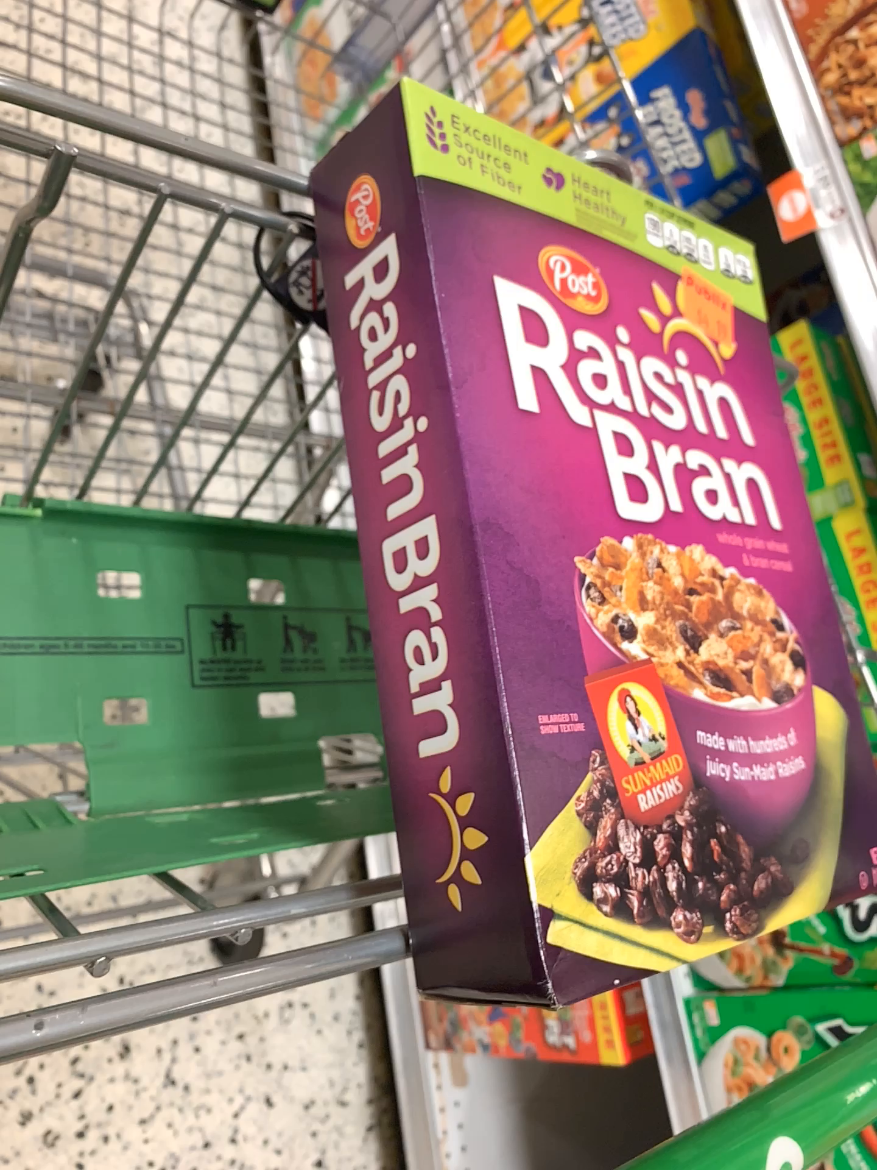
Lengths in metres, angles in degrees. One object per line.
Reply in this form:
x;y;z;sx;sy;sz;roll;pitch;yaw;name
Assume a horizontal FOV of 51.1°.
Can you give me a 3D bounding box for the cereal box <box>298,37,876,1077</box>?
0.072;-0.014;0.323;0.211;0.060;0.281;4;71;-39;cereal box
